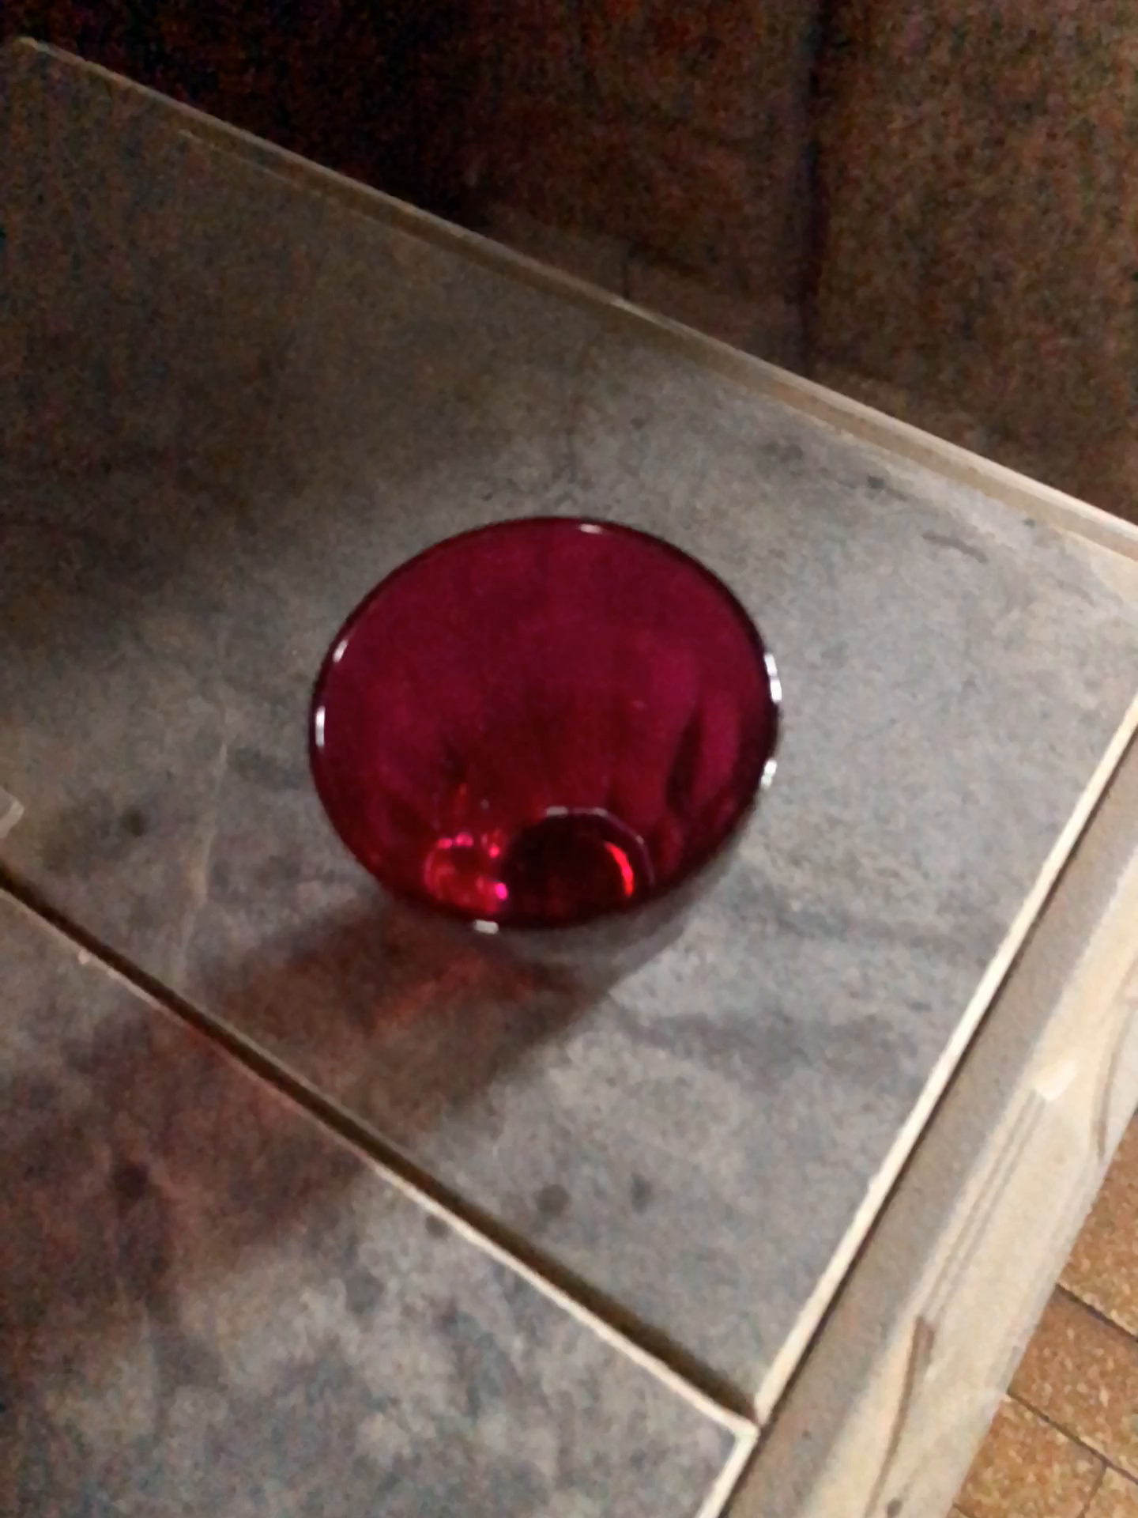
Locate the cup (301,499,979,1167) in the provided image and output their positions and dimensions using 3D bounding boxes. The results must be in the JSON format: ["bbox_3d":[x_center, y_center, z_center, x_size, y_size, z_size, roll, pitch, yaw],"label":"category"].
[{"bbox_3d":[0.014,0.017,0.219,0.080,0.080,0.070,18,67,12],"label":"cup"}]
